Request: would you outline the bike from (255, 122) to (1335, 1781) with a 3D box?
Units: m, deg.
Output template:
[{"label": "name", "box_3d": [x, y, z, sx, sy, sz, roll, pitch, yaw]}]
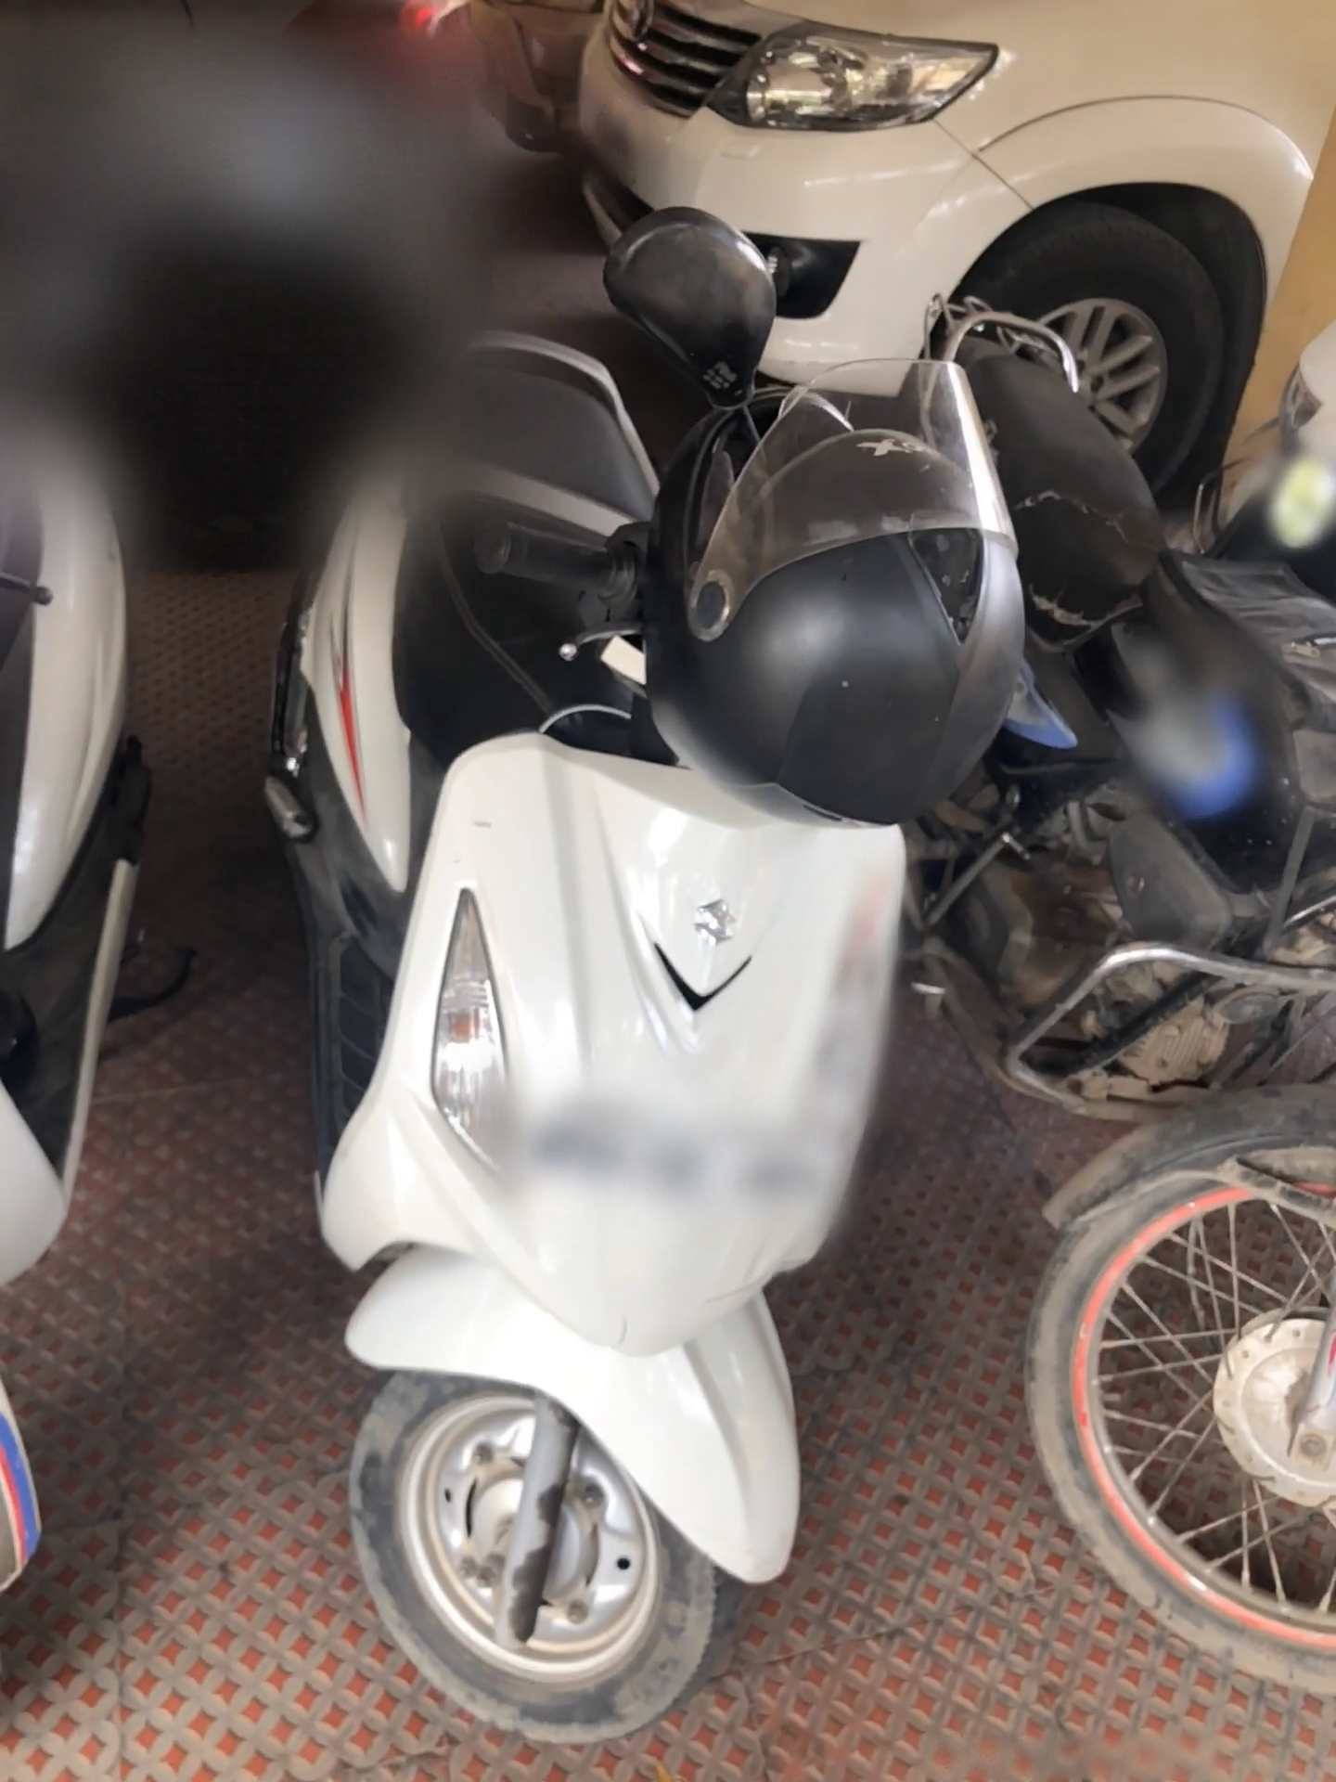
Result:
[{"label": "bike", "box_3d": [0.102, -0.016, 1.742, 0.833, 0.941, 1.514, -9, 50, -18]}]
